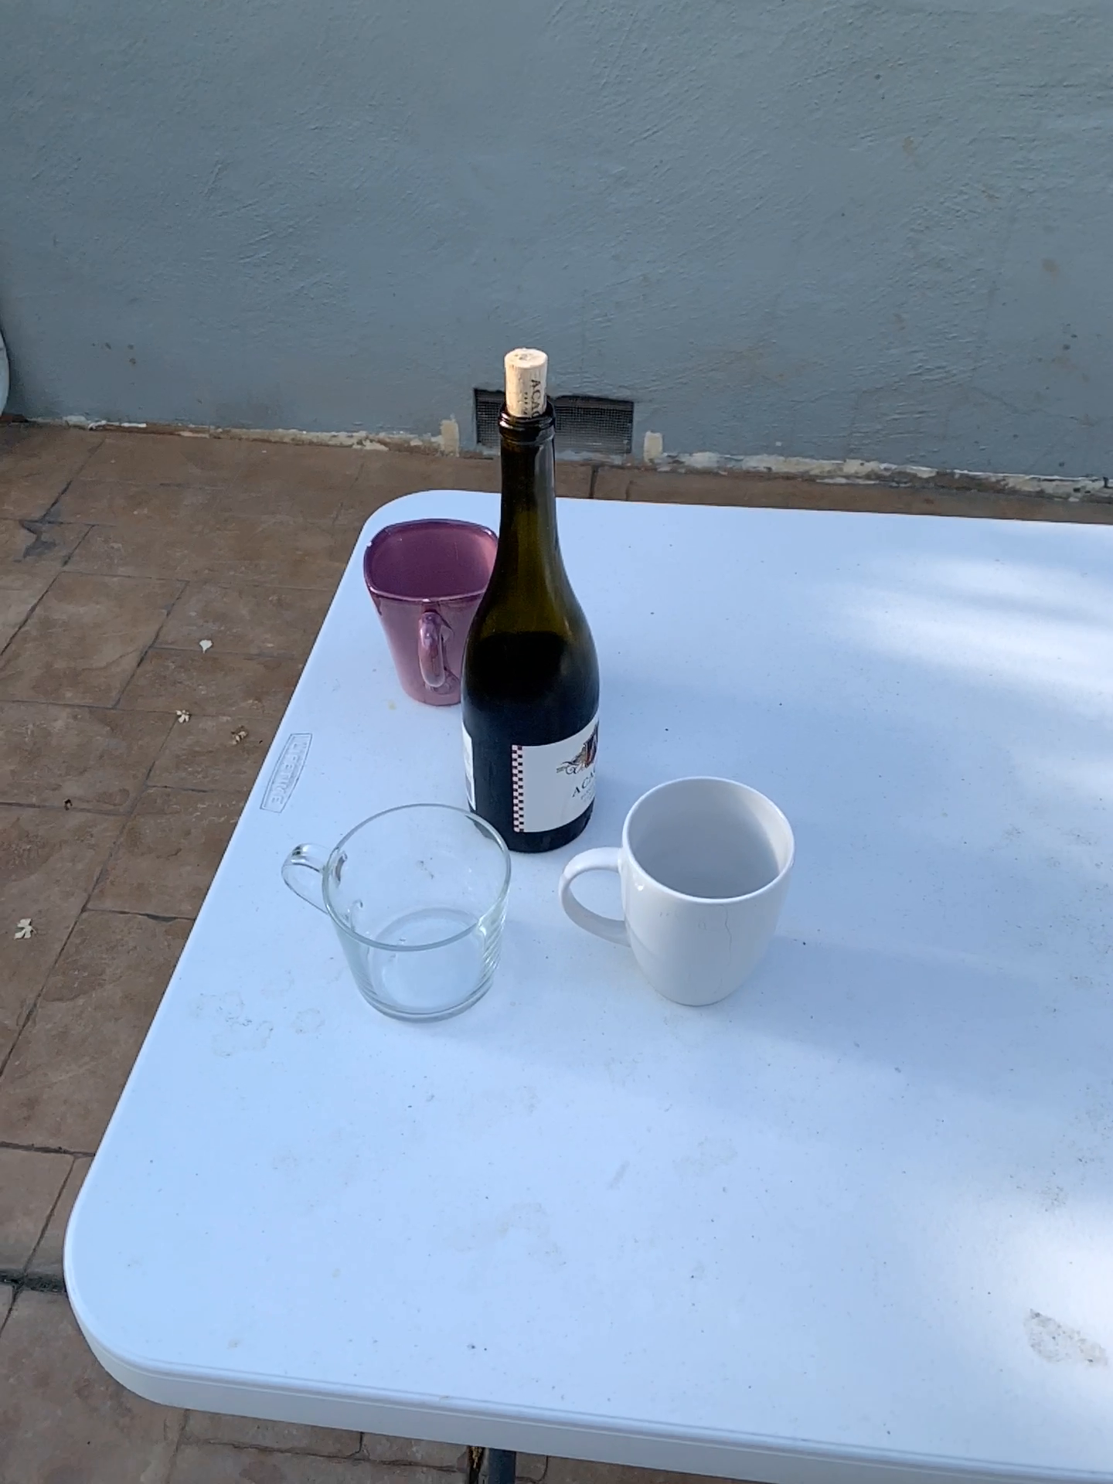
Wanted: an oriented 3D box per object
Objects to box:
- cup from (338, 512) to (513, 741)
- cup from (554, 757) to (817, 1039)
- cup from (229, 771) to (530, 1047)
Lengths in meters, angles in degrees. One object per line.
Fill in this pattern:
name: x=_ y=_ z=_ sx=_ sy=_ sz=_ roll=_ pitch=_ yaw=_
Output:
cup: x=-0.086 y=-0.083 z=0.804 sx=0.100 sy=0.099 sz=0.131 roll=2 pitch=42 yaw=2
cup: x=0.068 y=0.088 z=0.639 sx=0.130 sy=0.119 sz=0.091 roll=4 pitch=42 yaw=4
cup: x=-0.091 y=0.090 z=0.631 sx=0.130 sy=0.079 sz=0.101 roll=10 pitch=43 yaw=11
